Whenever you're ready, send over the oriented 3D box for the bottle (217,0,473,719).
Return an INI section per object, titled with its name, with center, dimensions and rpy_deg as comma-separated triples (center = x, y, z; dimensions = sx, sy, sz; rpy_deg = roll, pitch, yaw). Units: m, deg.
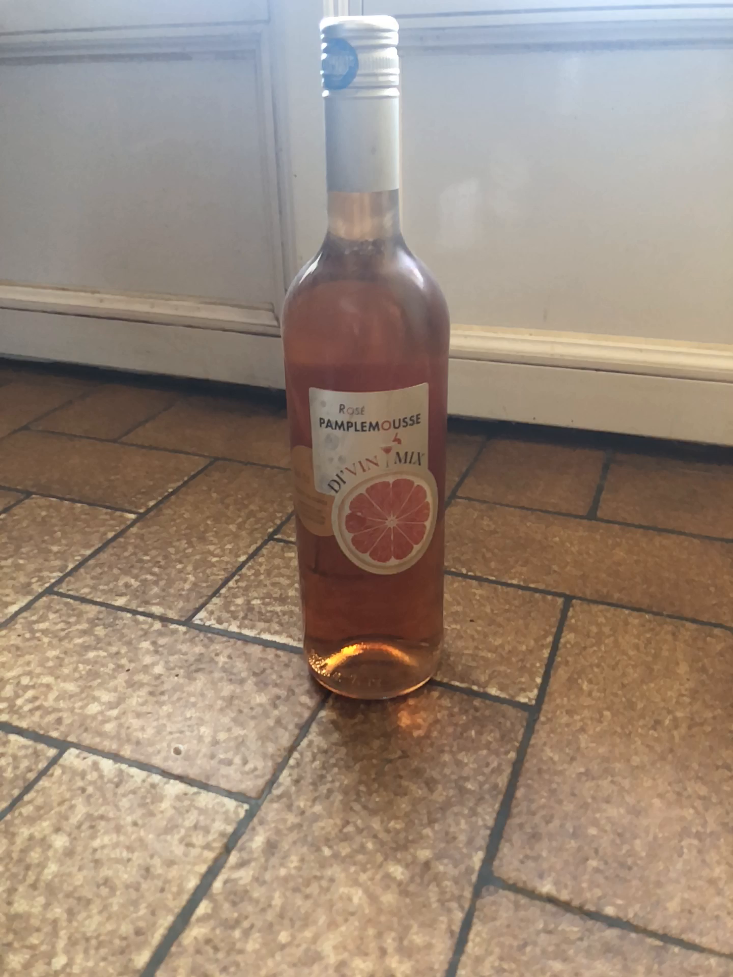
[bottle]
center = 0.000, -0.041, 0.351
dimensions = 0.080, 0.288, 0.081
rpy_deg = -1, 27, 1
